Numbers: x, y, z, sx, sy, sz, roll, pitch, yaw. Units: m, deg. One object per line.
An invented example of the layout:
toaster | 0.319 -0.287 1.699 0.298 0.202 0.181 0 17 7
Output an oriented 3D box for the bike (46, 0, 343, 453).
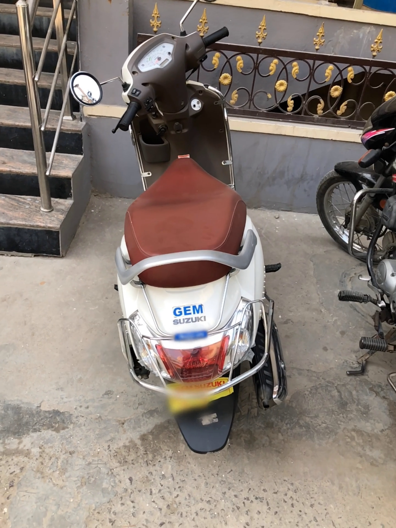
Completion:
bike | -0.144 -0.317 1.763 0.597 1.193 1.494 0 37 -9
